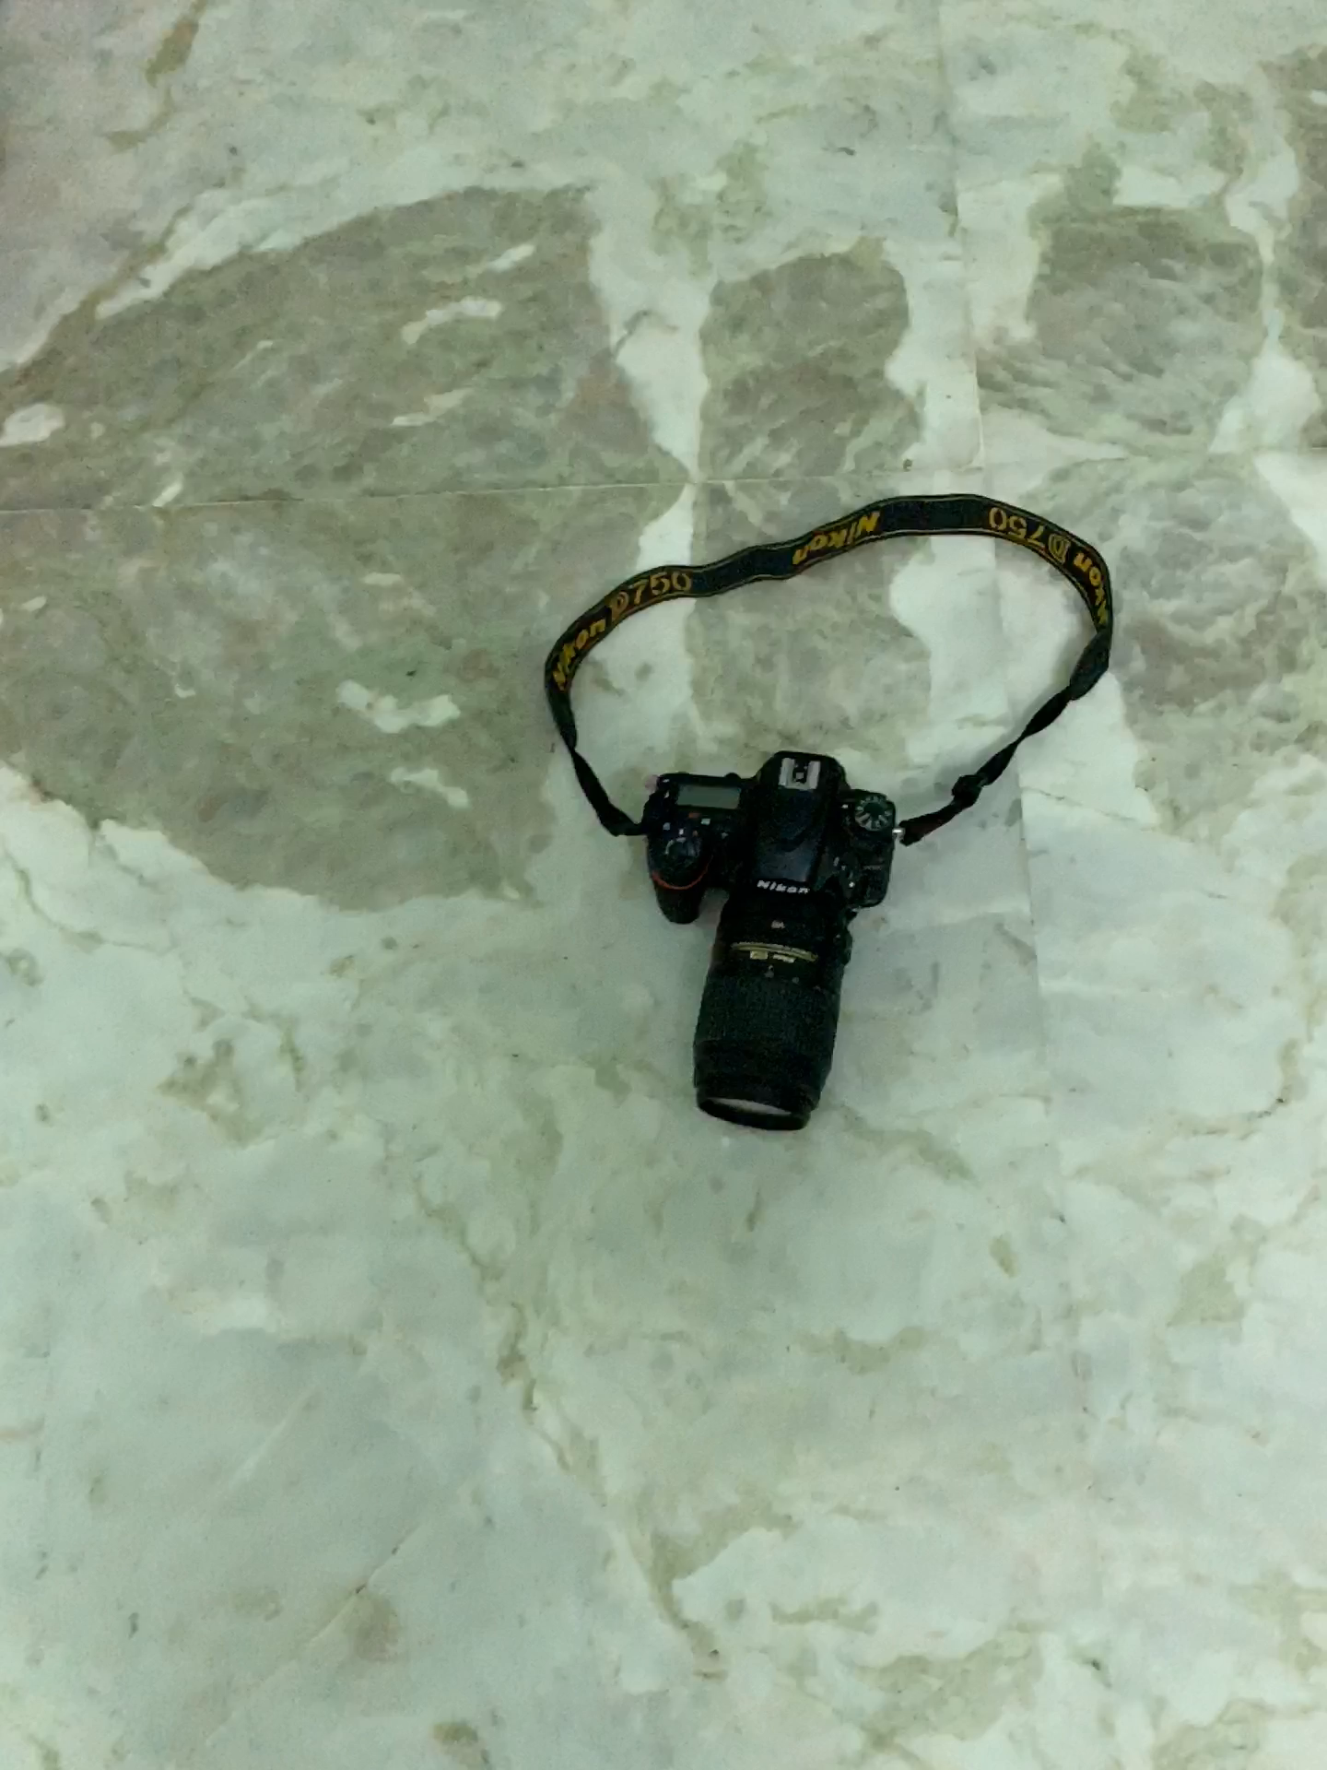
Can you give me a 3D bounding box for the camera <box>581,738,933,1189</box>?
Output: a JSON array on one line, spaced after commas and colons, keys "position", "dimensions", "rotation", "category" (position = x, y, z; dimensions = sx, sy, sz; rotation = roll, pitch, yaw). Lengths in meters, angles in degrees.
[{"position": [0.058, 0.043, 0.753], "dimensions": [0.150, 0.120, 0.200], "rotation": [8, 65, 10], "category": "camera"}]
